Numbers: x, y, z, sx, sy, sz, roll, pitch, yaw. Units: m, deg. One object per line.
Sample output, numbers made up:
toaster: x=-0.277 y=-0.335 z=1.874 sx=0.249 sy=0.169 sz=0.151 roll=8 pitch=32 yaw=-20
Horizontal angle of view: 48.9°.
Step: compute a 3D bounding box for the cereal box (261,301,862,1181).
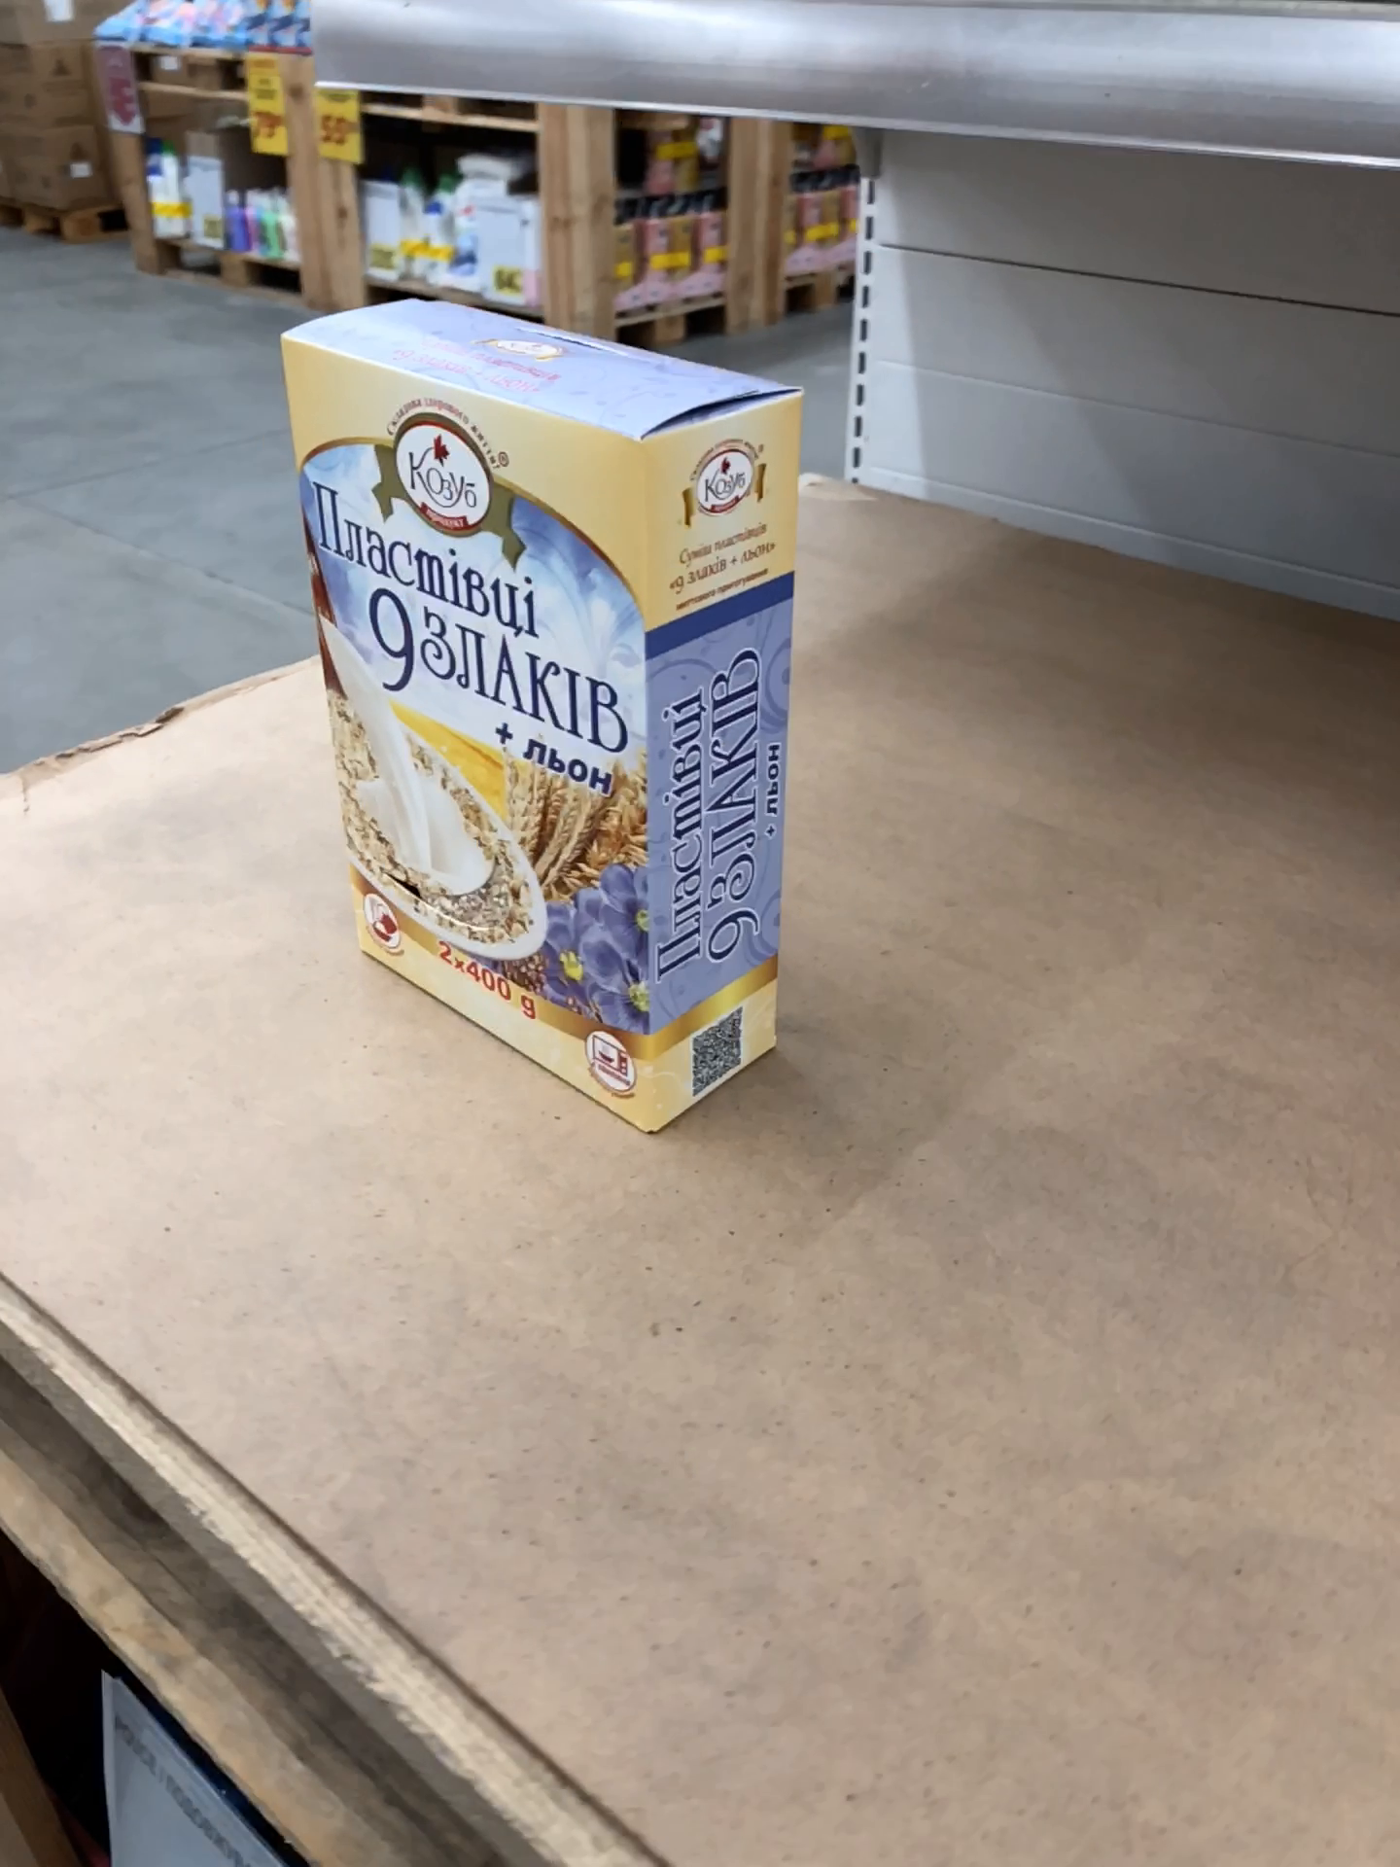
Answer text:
cereal box: x=-0.047 y=-0.066 z=0.514 sx=0.181 sy=0.238 sz=0.070 roll=27 pitch=41 yaw=34
